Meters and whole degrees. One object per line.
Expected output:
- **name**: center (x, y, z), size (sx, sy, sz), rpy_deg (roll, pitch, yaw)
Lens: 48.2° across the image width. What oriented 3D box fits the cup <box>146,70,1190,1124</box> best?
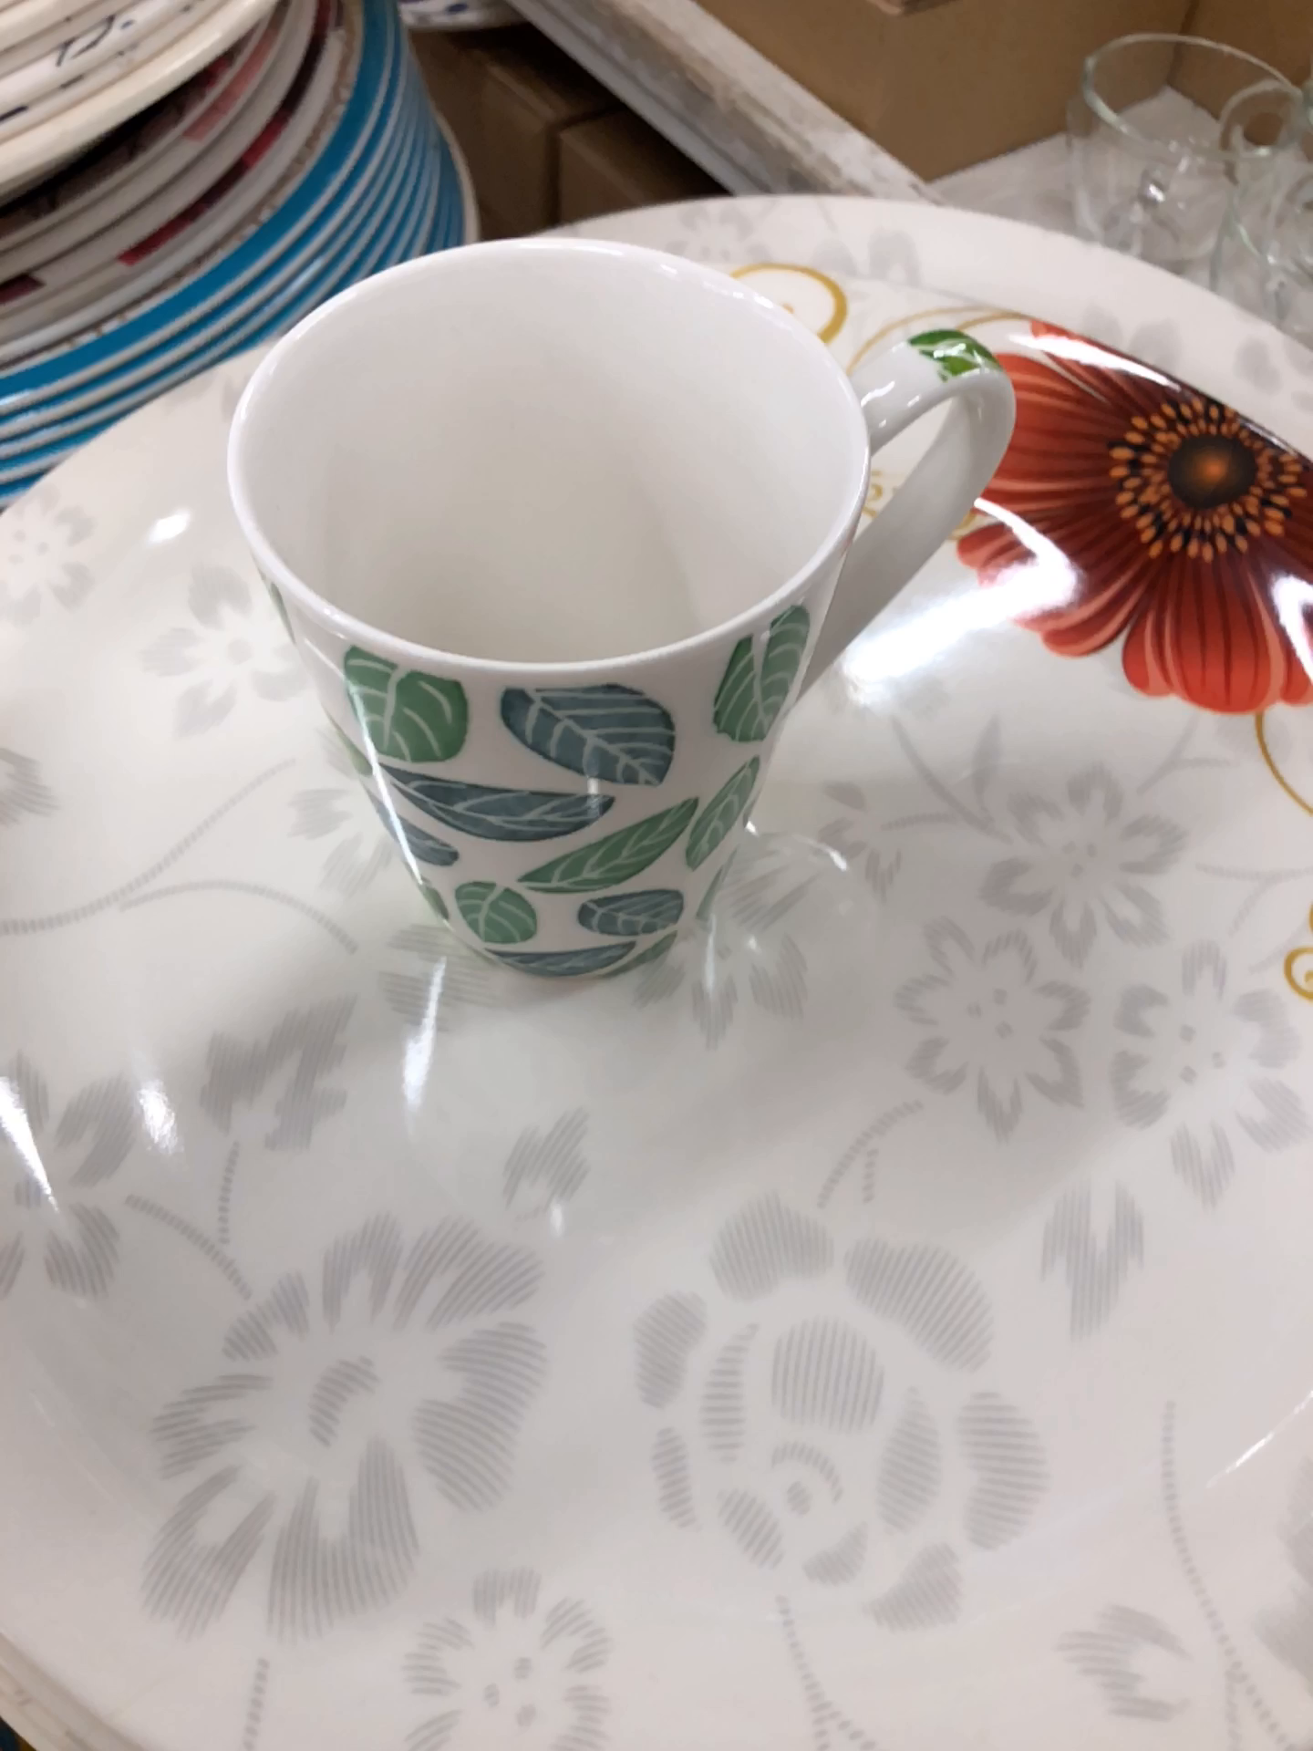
- **cup**: center (0.000, -0.043, 0.253), size (0.120, 0.119, 0.080), rpy_deg (-31, 65, -20)
